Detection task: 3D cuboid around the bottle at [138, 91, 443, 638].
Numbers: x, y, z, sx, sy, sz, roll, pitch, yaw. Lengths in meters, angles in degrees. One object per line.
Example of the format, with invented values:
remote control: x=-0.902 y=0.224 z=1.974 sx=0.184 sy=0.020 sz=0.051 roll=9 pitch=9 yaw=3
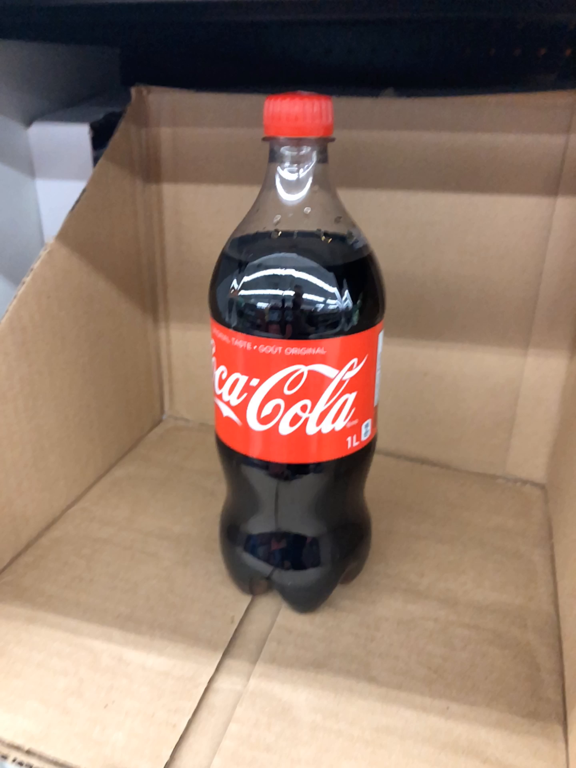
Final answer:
bottle: x=0.004 y=-0.011 z=0.327 sx=0.100 sy=0.248 sz=0.091 roll=13 pitch=29 yaw=24
